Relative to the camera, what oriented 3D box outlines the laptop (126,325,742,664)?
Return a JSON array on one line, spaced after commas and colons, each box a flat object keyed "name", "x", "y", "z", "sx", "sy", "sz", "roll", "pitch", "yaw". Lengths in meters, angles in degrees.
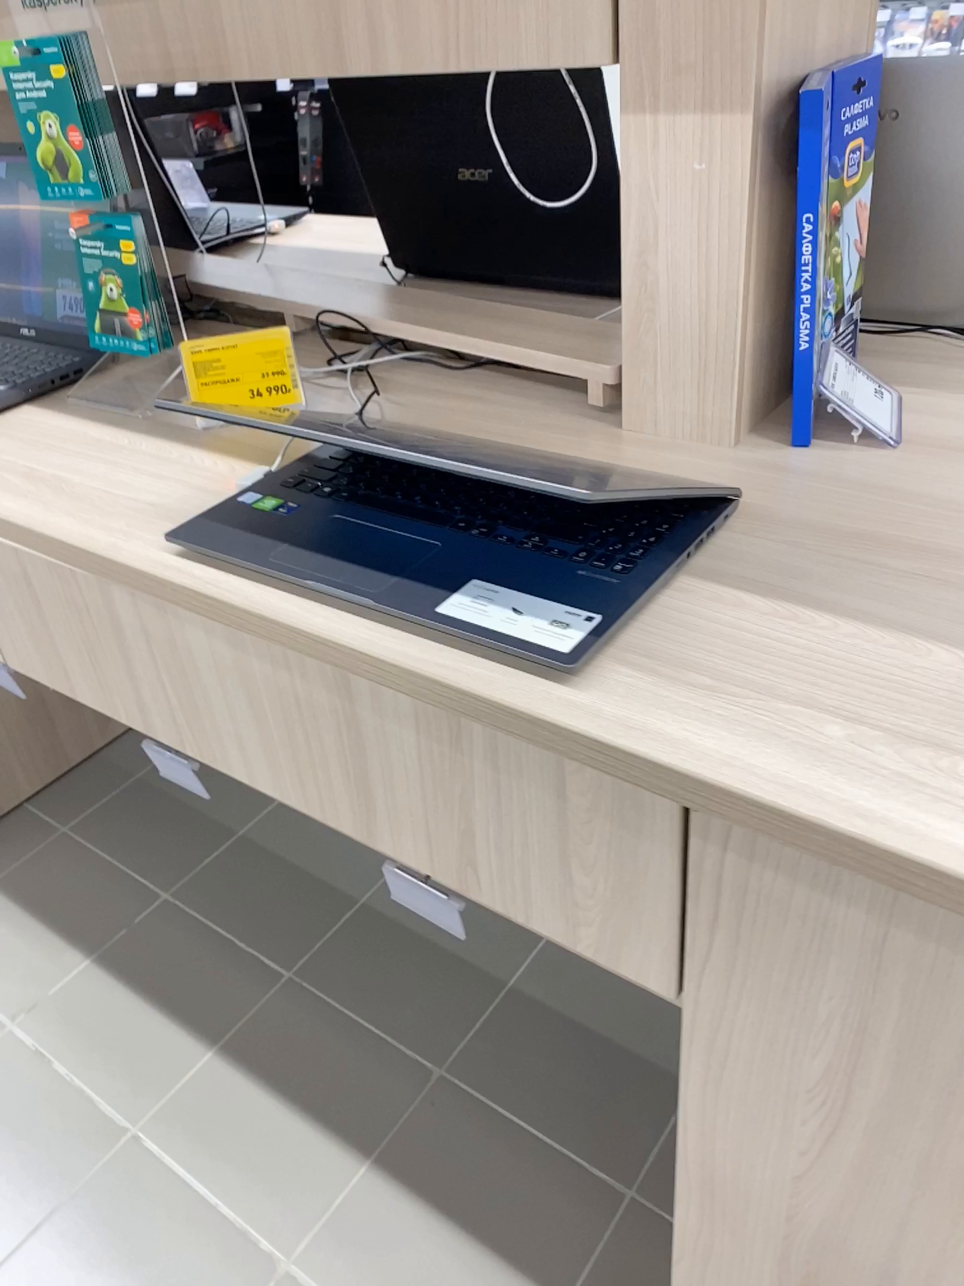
[{"name": "laptop", "x": -0.033, "y": -0.130, "z": 0.695, "sx": 0.354, "sy": 0.088, "sz": 0.236, "roll": 18, "pitch": 40, "yaw": 31}]
